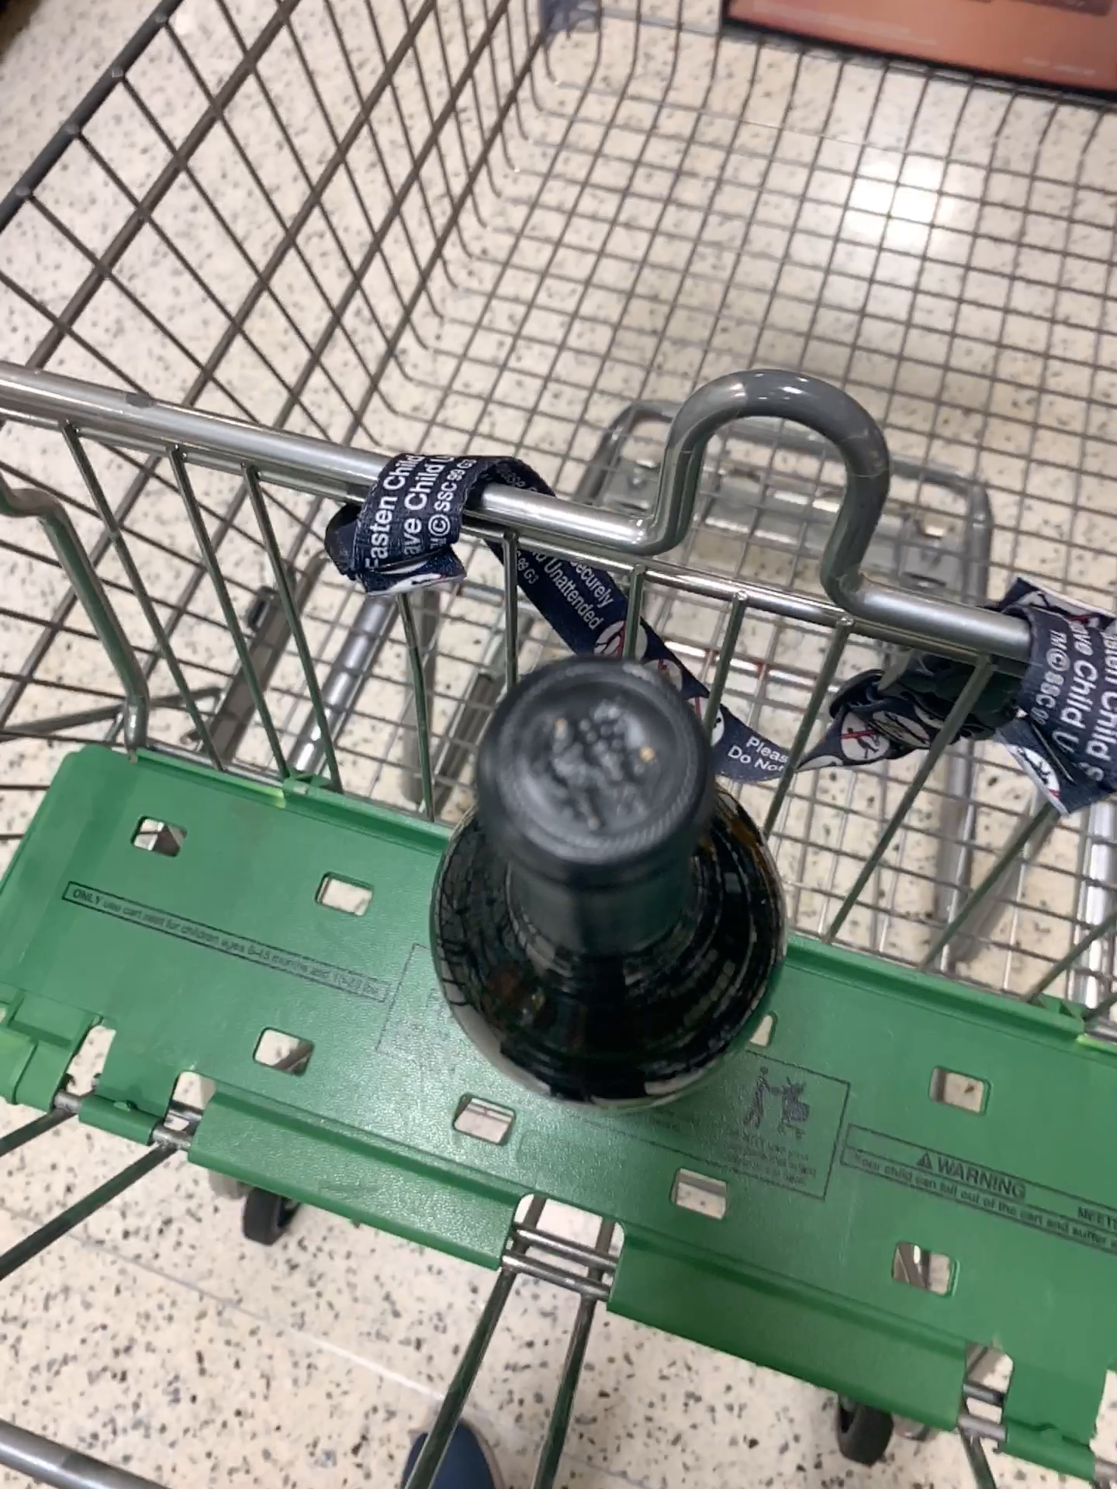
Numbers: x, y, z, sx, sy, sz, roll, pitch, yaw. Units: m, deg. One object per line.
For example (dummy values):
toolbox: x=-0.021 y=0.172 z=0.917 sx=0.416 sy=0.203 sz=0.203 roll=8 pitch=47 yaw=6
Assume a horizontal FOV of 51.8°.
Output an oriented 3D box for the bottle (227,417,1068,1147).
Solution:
bottle: x=0.013 y=0.050 z=0.273 sx=0.080 sy=0.309 sz=0.070 roll=-11 pitch=71 yaw=-1
